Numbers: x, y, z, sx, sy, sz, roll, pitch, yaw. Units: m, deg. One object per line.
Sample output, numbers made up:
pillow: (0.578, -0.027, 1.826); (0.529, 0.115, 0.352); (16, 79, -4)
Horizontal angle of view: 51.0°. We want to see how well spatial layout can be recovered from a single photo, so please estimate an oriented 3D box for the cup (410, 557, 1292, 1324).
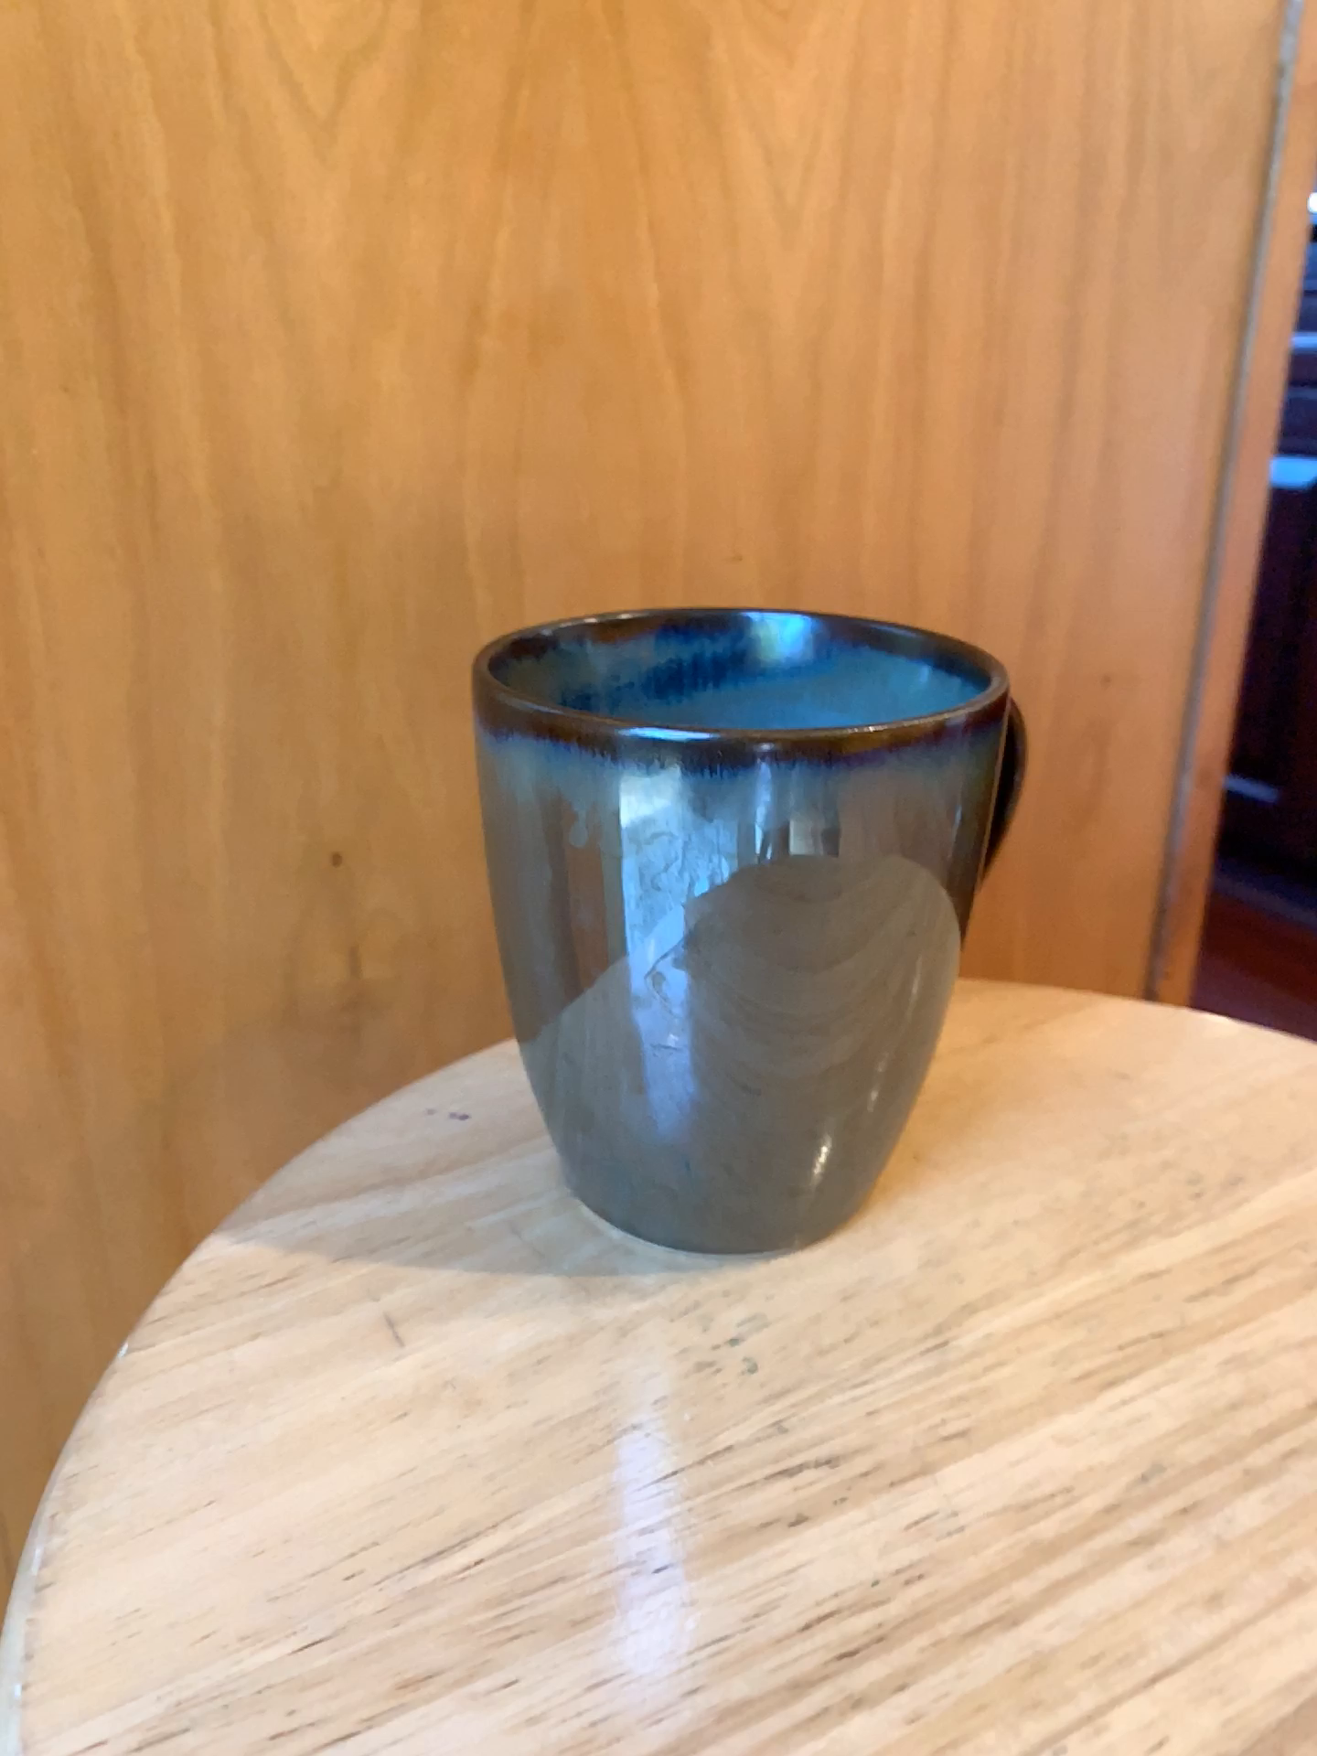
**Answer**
cup: (0.030, -0.001, 0.243); (0.120, 0.090, 0.080); (-12, 24, -28)
